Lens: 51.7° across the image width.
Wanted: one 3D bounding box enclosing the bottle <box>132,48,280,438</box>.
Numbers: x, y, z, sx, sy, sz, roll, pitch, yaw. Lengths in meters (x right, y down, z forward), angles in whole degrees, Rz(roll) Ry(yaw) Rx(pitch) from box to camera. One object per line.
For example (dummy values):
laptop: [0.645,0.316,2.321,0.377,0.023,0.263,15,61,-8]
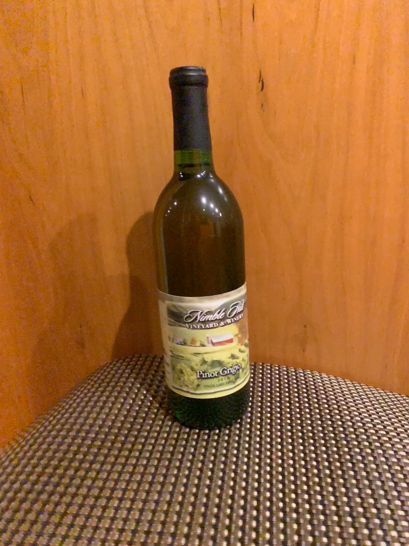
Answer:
bottle: [0.003,-0.017,0.331,0.090,0.269,0.080,-5,16,-7]
